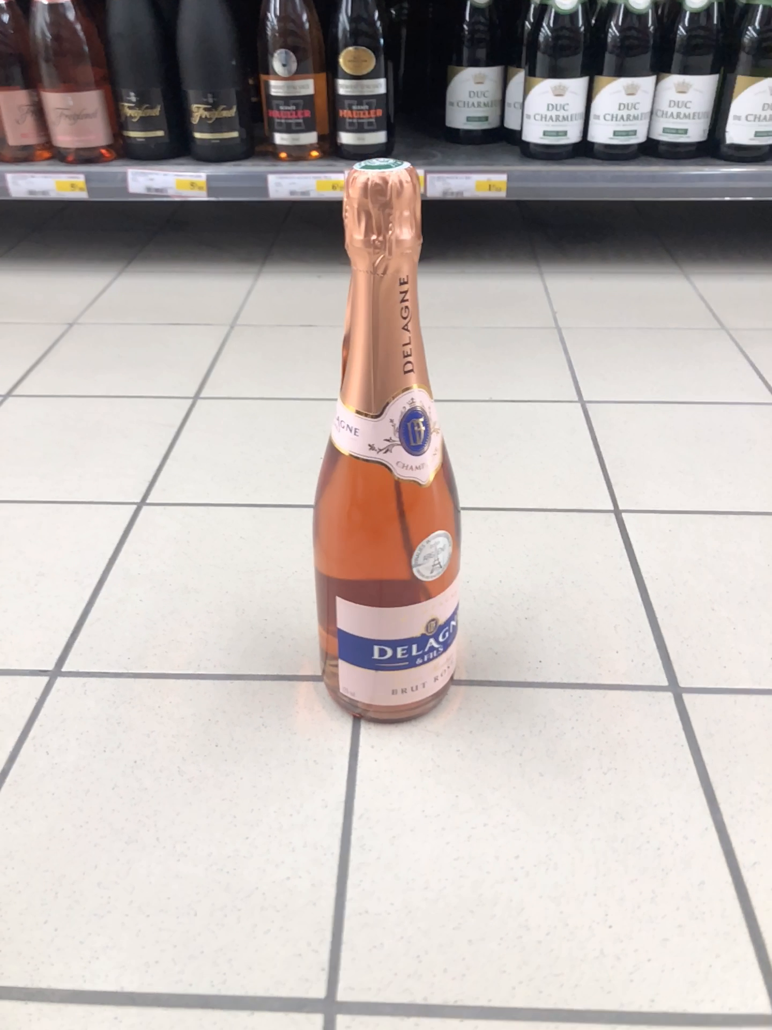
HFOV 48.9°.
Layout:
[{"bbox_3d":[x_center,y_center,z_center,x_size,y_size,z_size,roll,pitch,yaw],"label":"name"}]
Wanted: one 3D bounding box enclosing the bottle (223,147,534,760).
[{"bbox_3d":[-0.004,-0.023,0.438,0.100,0.288,0.090,-19,37,-26],"label":"bottle"}]
